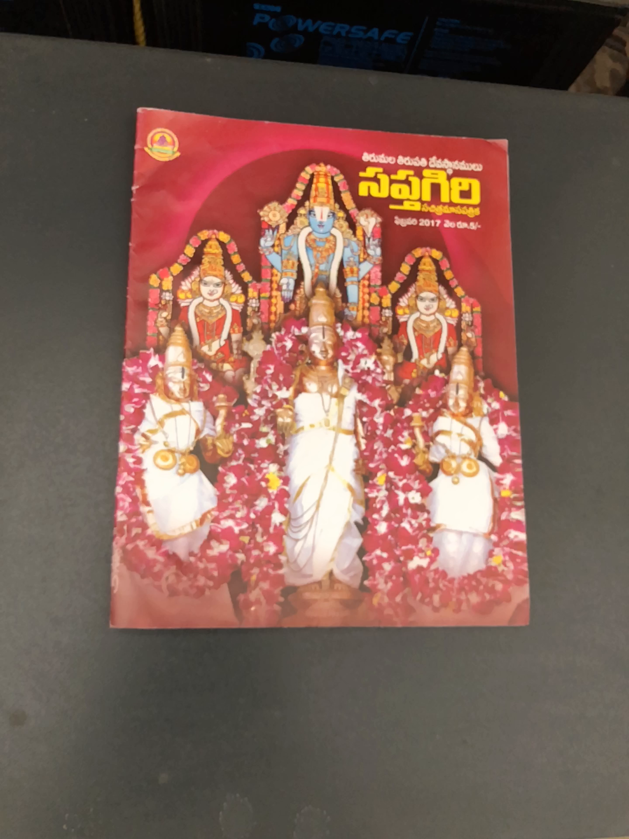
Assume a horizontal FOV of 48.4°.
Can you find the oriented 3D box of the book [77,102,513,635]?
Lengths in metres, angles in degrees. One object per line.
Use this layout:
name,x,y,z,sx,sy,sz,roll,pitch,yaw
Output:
book,-0.007,-0.028,0.358,0.200,0.030,0.260,1,79,-7
